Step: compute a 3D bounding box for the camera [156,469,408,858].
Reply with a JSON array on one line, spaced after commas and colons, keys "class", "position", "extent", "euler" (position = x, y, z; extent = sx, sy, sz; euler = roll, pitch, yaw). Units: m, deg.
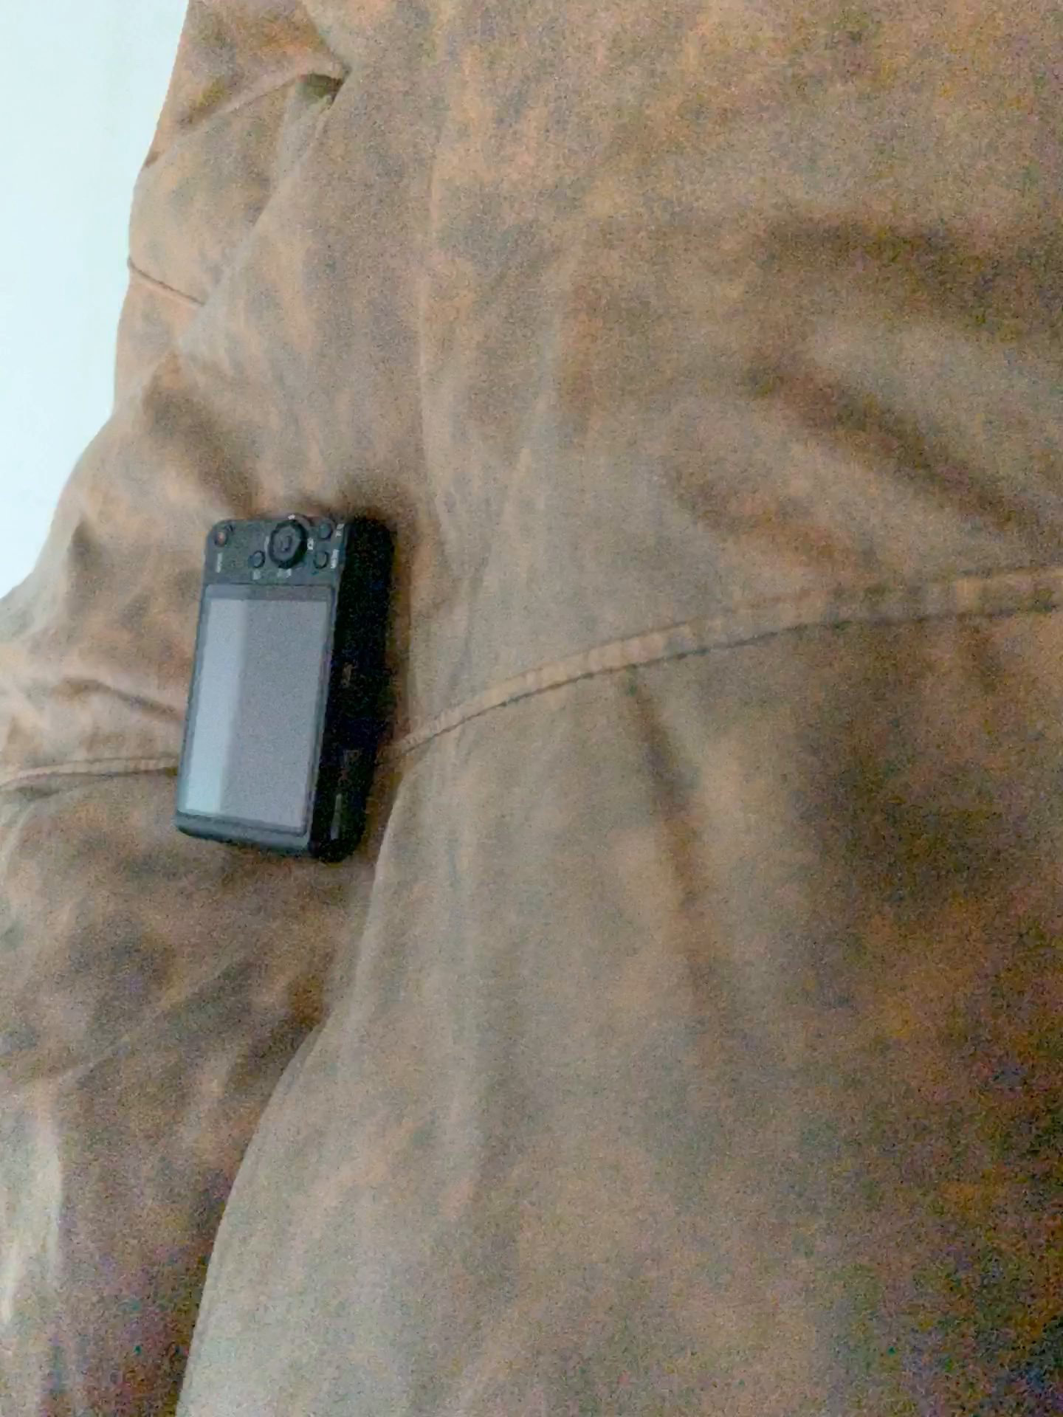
[{"class": "camera", "position": [-0.071, -0.013, 0.310], "extent": [0.060, 0.024, 0.100], "euler": [5, 86, 41]}]
